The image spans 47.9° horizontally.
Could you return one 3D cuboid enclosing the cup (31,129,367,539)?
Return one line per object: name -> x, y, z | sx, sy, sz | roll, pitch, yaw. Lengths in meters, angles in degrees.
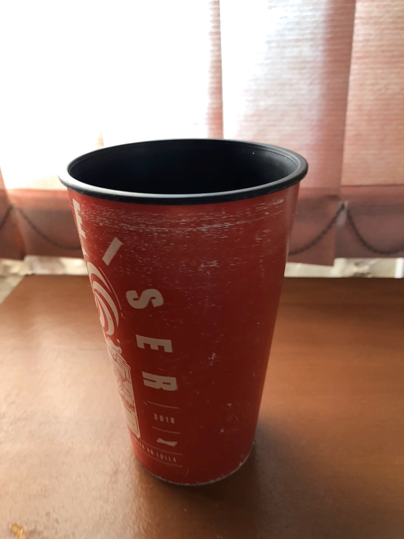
cup -> -0.004, 0.019, 0.203 | 0.090, 0.139, 0.100 | -17, 28, -28
